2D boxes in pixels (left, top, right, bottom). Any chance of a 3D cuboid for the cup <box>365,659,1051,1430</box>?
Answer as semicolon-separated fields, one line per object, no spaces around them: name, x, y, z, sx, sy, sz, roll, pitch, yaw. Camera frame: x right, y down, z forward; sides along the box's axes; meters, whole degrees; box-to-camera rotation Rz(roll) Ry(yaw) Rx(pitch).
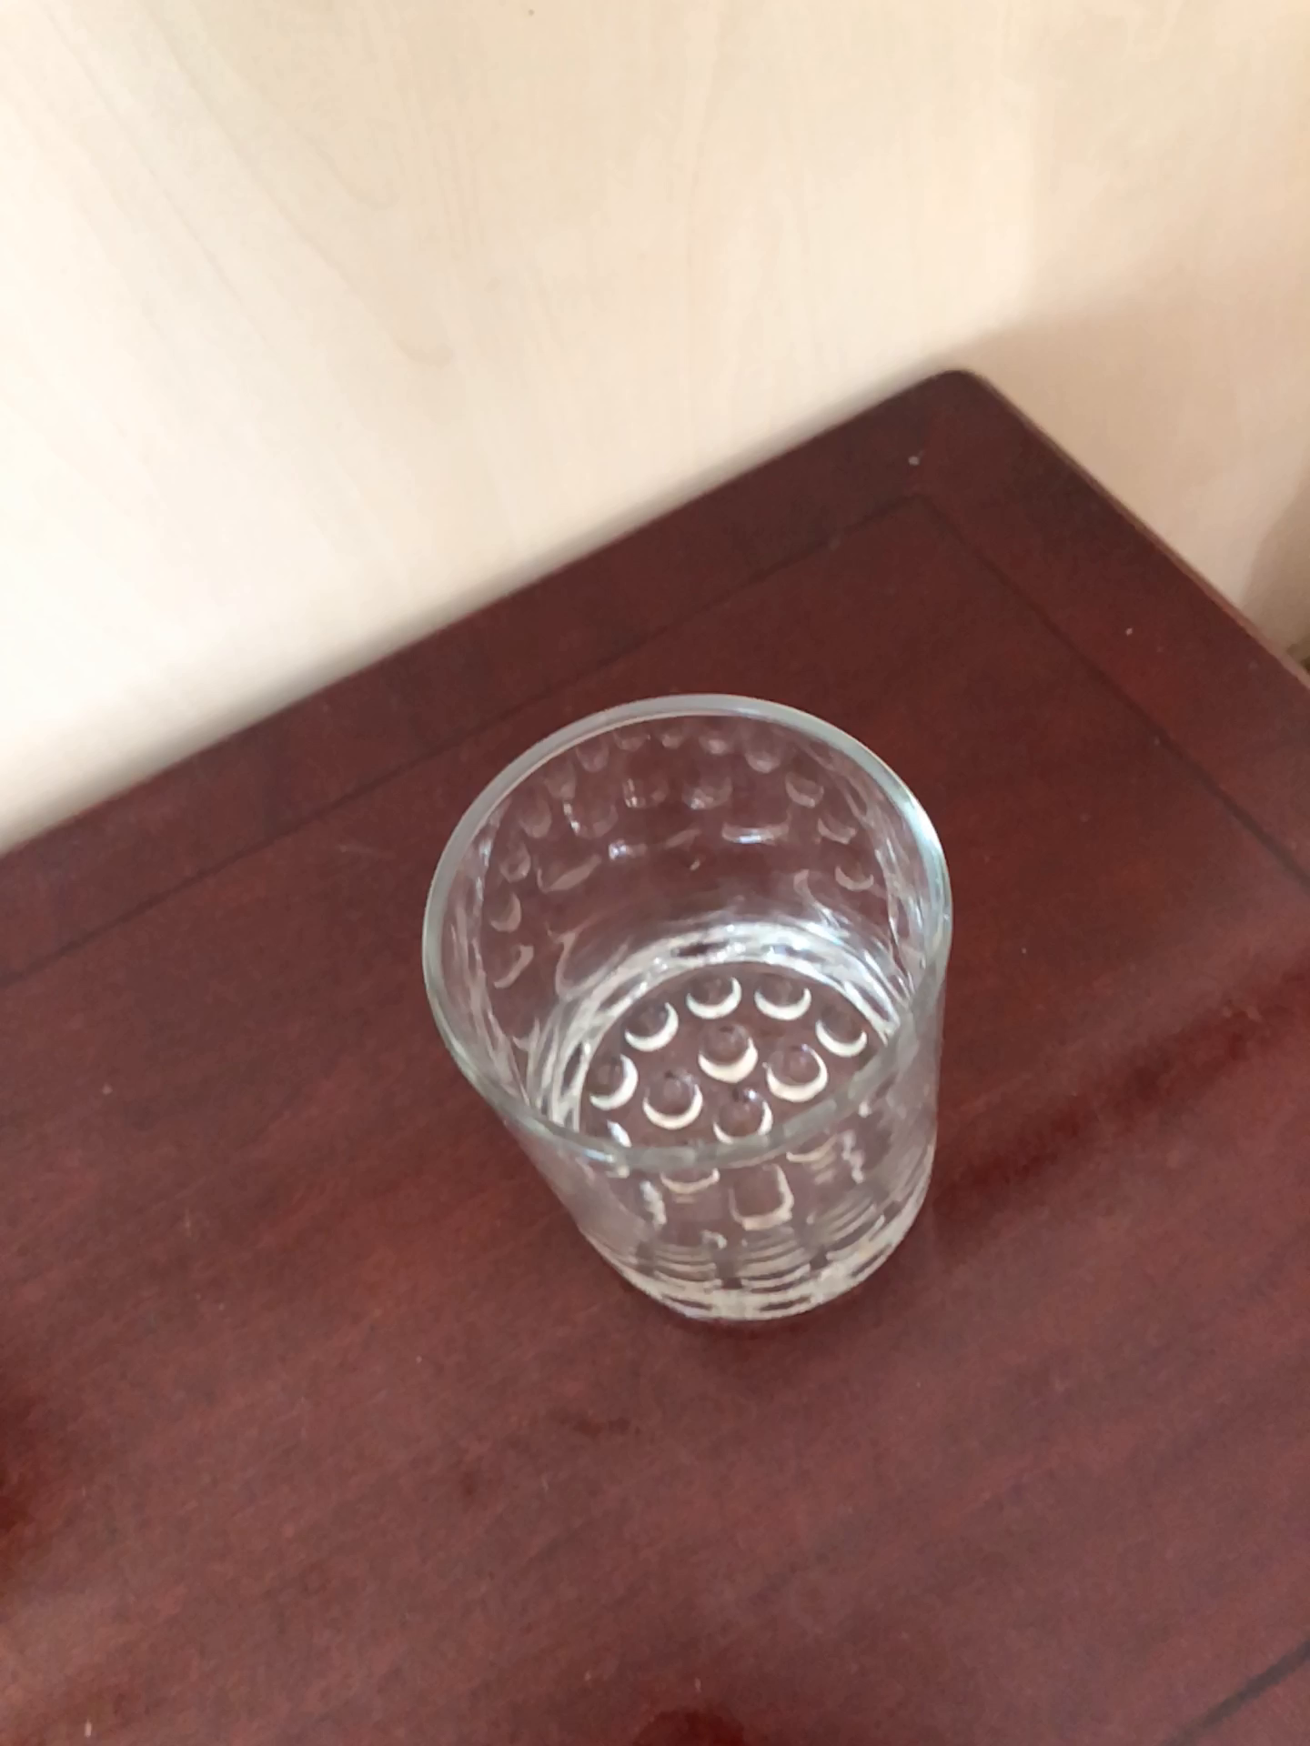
cup;0.010;0.035;0.260;0.081;0.097;0.082;-4;59;7
